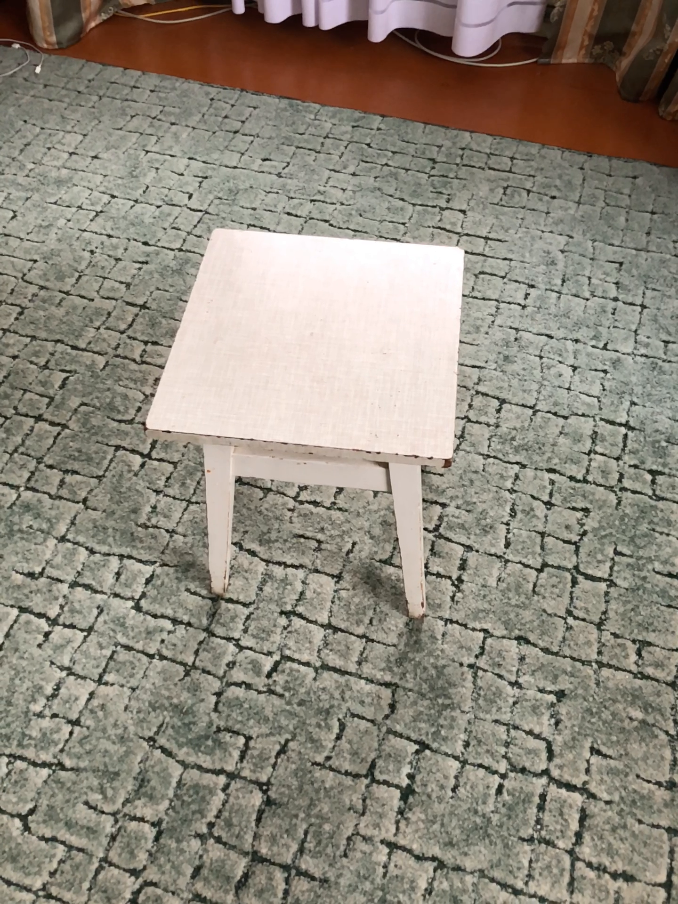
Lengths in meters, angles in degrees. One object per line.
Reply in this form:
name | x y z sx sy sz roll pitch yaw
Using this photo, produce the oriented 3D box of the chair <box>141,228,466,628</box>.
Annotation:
chair | -0.022 -0.014 1.050 0.332 0.447 0.336 6 56 4
